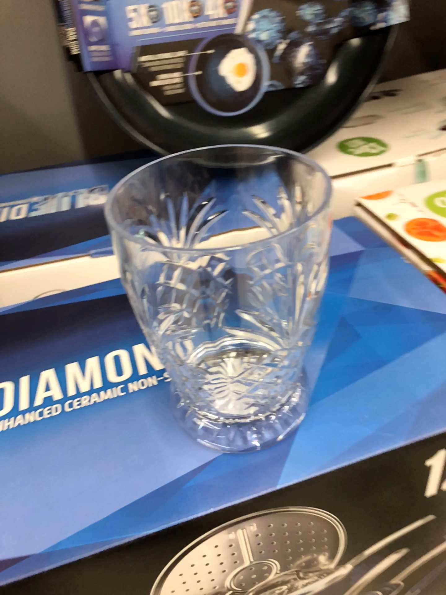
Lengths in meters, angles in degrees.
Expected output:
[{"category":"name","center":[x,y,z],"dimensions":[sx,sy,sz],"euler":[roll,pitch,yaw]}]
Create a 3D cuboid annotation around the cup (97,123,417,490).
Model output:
[{"category":"cup","center":[0.011,0.001,0.223],"dimensions":[0.092,0.113,0.088],"euler":[-4,39,3]}]
